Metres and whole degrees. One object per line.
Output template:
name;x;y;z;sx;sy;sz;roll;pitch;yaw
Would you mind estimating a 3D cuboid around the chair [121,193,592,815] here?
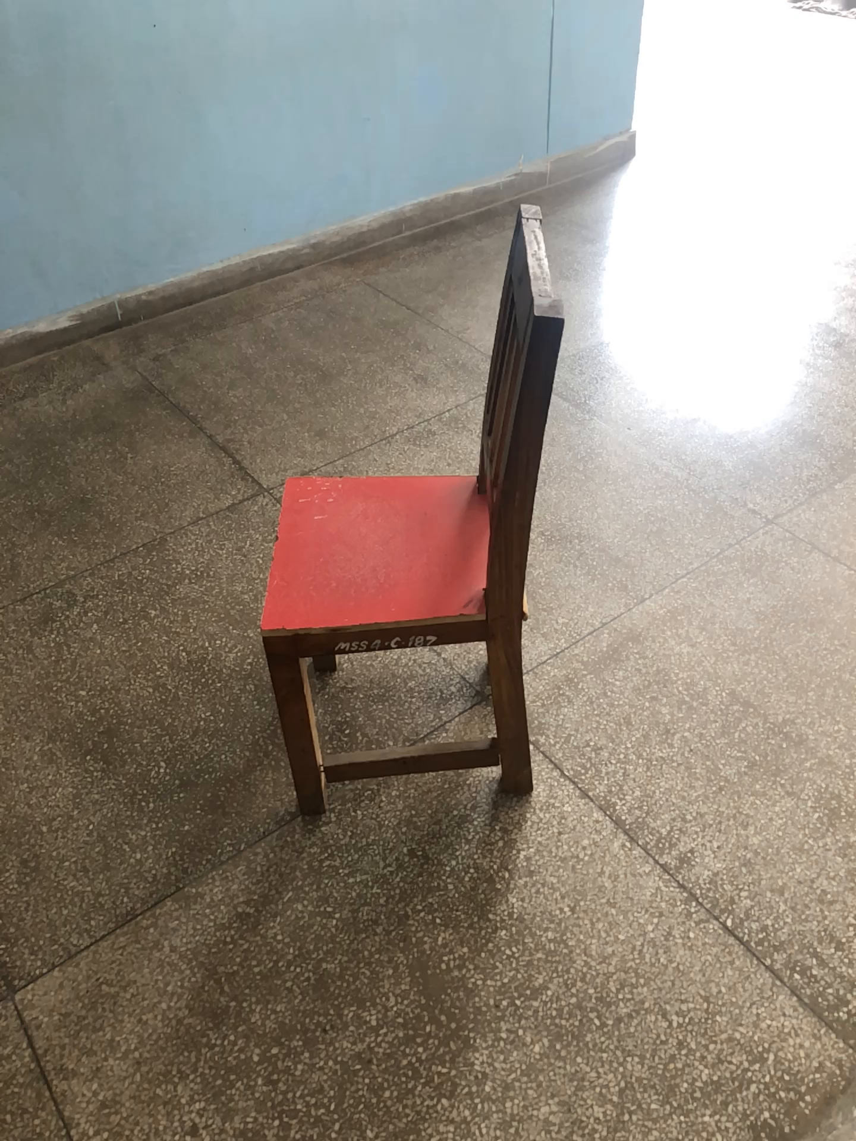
chair;-0.063;-0.053;1.385;0.480;0.817;0.401;-3;43;0
